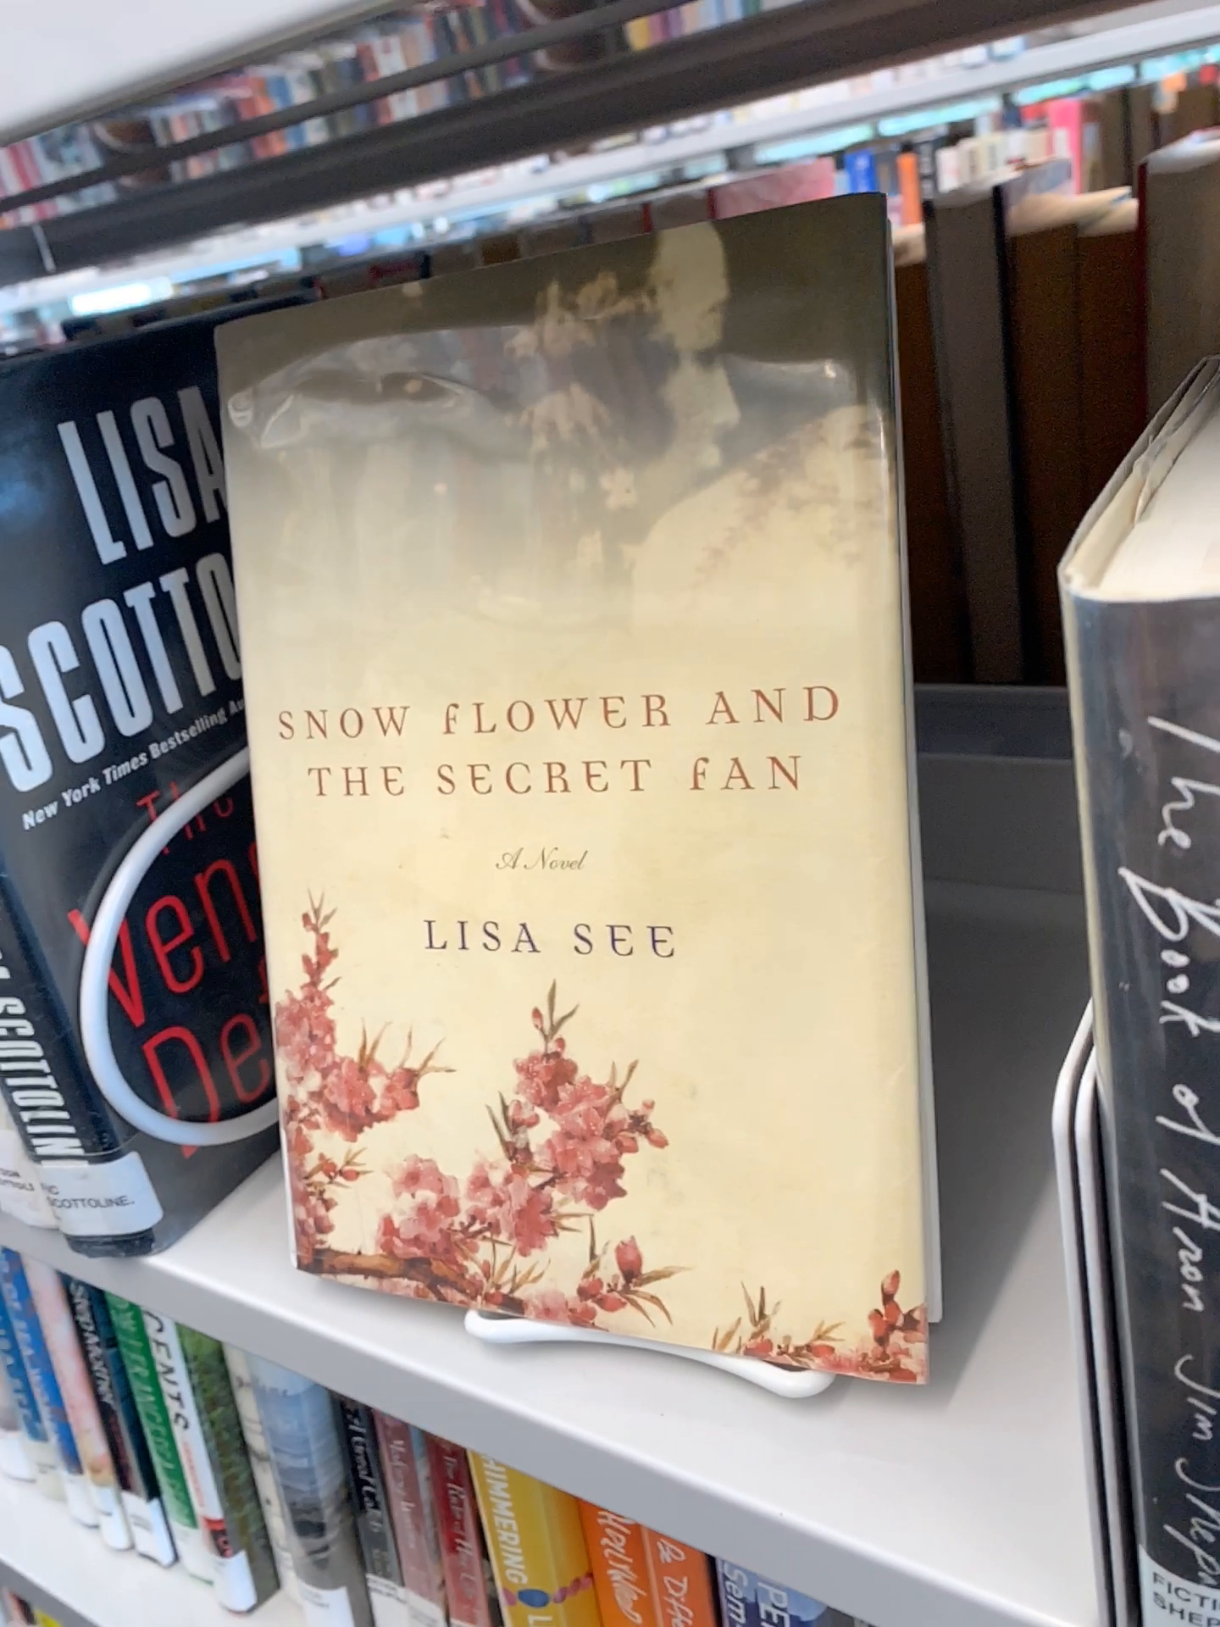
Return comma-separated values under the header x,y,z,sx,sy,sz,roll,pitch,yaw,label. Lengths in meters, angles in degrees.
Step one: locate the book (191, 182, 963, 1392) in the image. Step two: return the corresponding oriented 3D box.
x,y,z,sx,sy,sz,roll,pitch,yaw,label
-0.009,-0.002,0.293,0.163,0.231,0.041,-1,6,24,book
